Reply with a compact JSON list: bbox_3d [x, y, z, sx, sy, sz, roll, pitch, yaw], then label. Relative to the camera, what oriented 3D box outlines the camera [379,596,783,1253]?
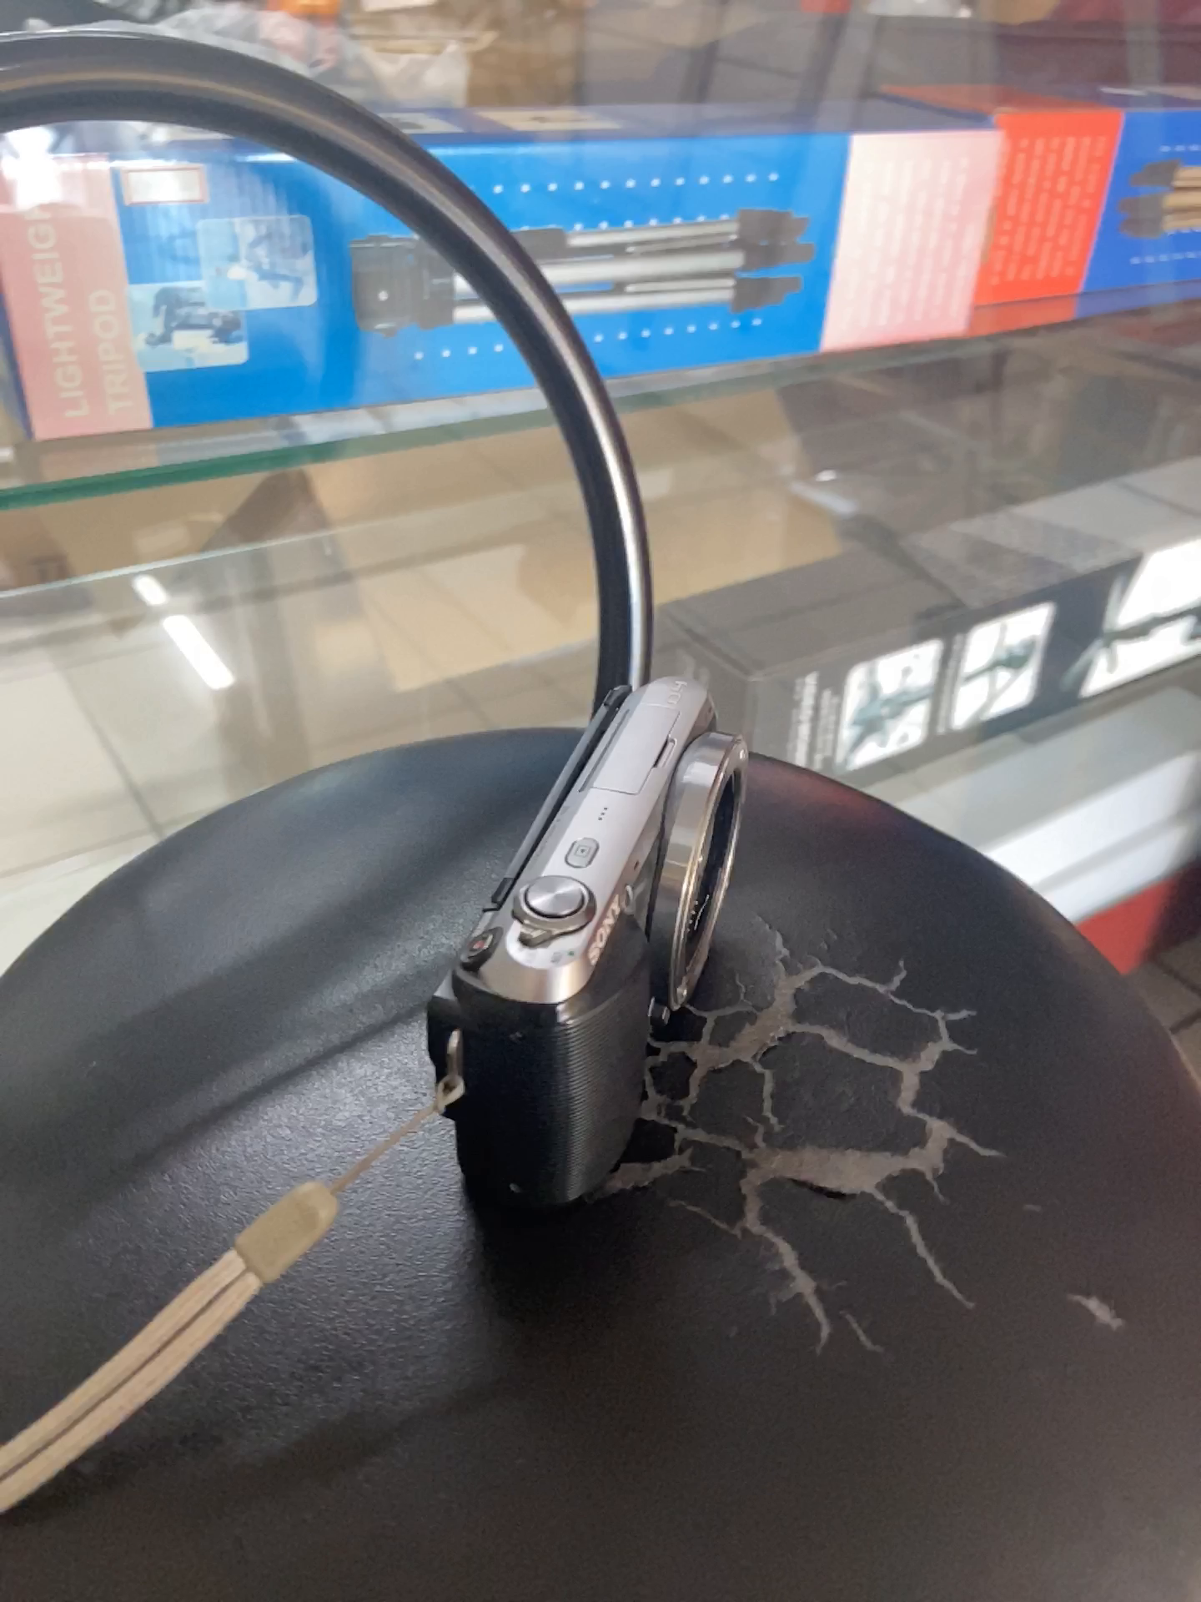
[{"bbox_3d":[0.002,0.015,0.245,0.040,0.060,0.121,11,36,12],"label":"camera"}]
